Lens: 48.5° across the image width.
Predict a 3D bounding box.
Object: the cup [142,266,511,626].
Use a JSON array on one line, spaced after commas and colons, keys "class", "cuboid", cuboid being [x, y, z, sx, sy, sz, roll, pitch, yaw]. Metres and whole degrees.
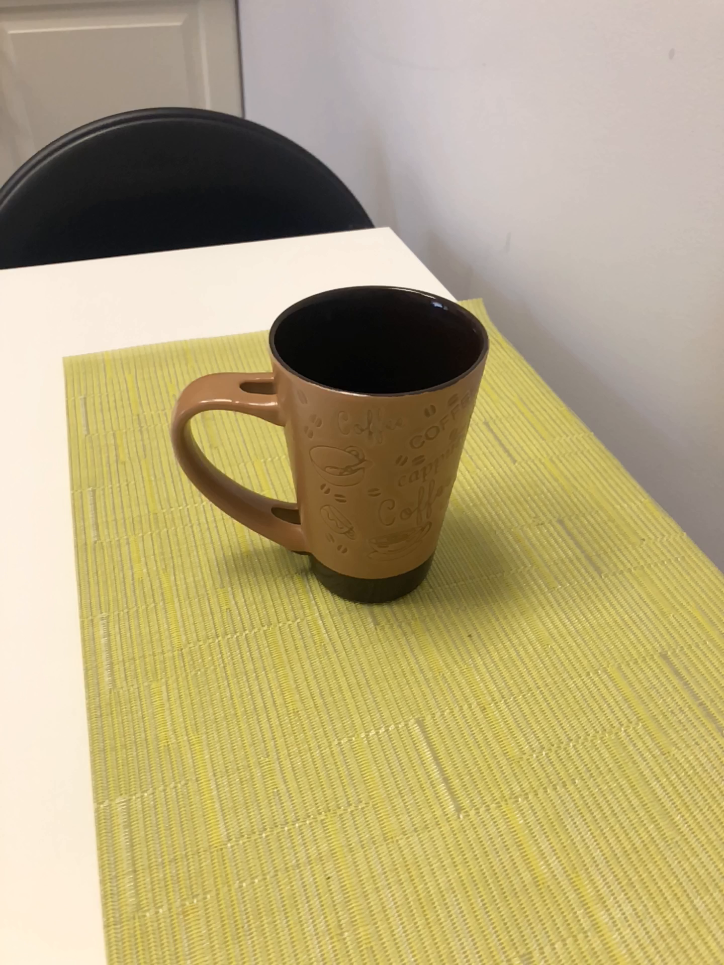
[{"class": "cup", "cuboid": [-0.017, -0.016, 0.347, 0.126, 0.119, 0.090, -3, 39, -6]}]
